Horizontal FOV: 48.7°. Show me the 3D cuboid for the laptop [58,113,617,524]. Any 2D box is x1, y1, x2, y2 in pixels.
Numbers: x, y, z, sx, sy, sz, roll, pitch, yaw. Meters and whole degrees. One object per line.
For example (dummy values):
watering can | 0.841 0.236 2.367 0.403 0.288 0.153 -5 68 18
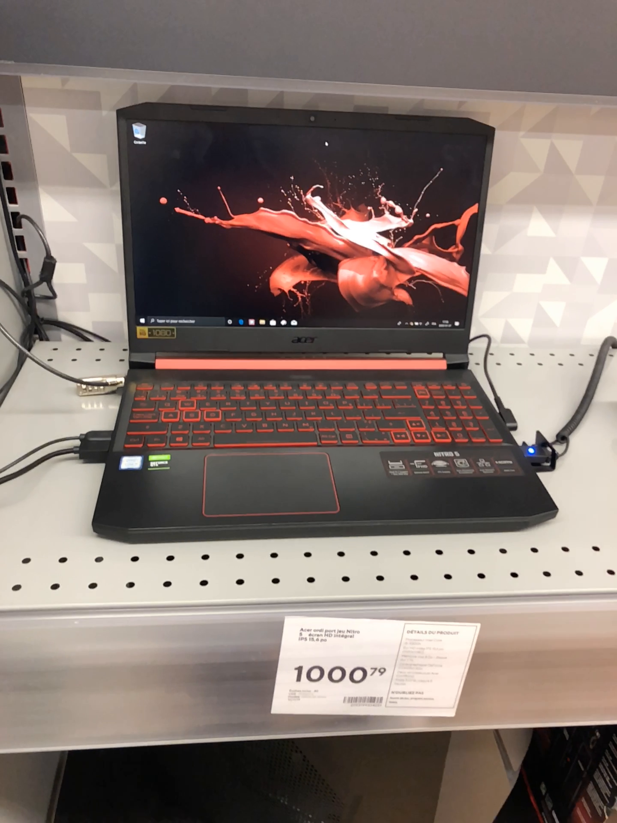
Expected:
laptop | 0.015 -0.095 0.594 0.361 0.241 0.282 -1 33 -8
